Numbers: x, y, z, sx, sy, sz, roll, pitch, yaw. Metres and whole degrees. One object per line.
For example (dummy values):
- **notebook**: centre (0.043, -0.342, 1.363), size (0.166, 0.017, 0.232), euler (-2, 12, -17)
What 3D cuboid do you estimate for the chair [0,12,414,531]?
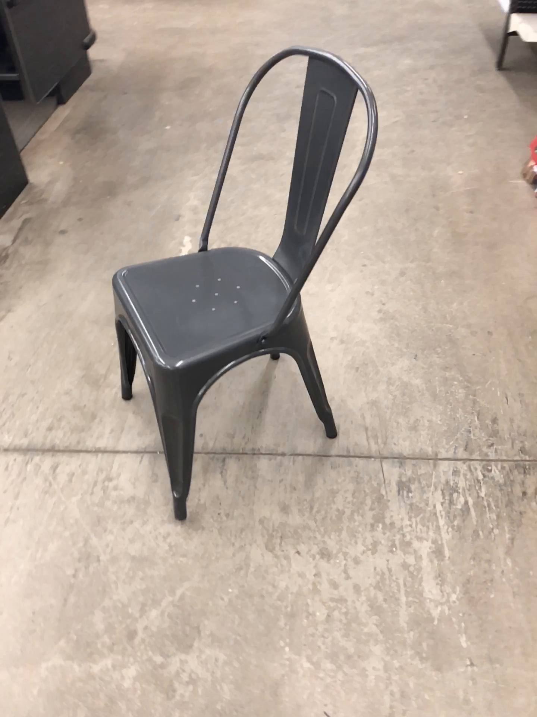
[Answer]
- **chair**: centre (-0.110, -0.153, 1.211), size (0.500, 0.817, 0.482), euler (-21, 48, -18)
